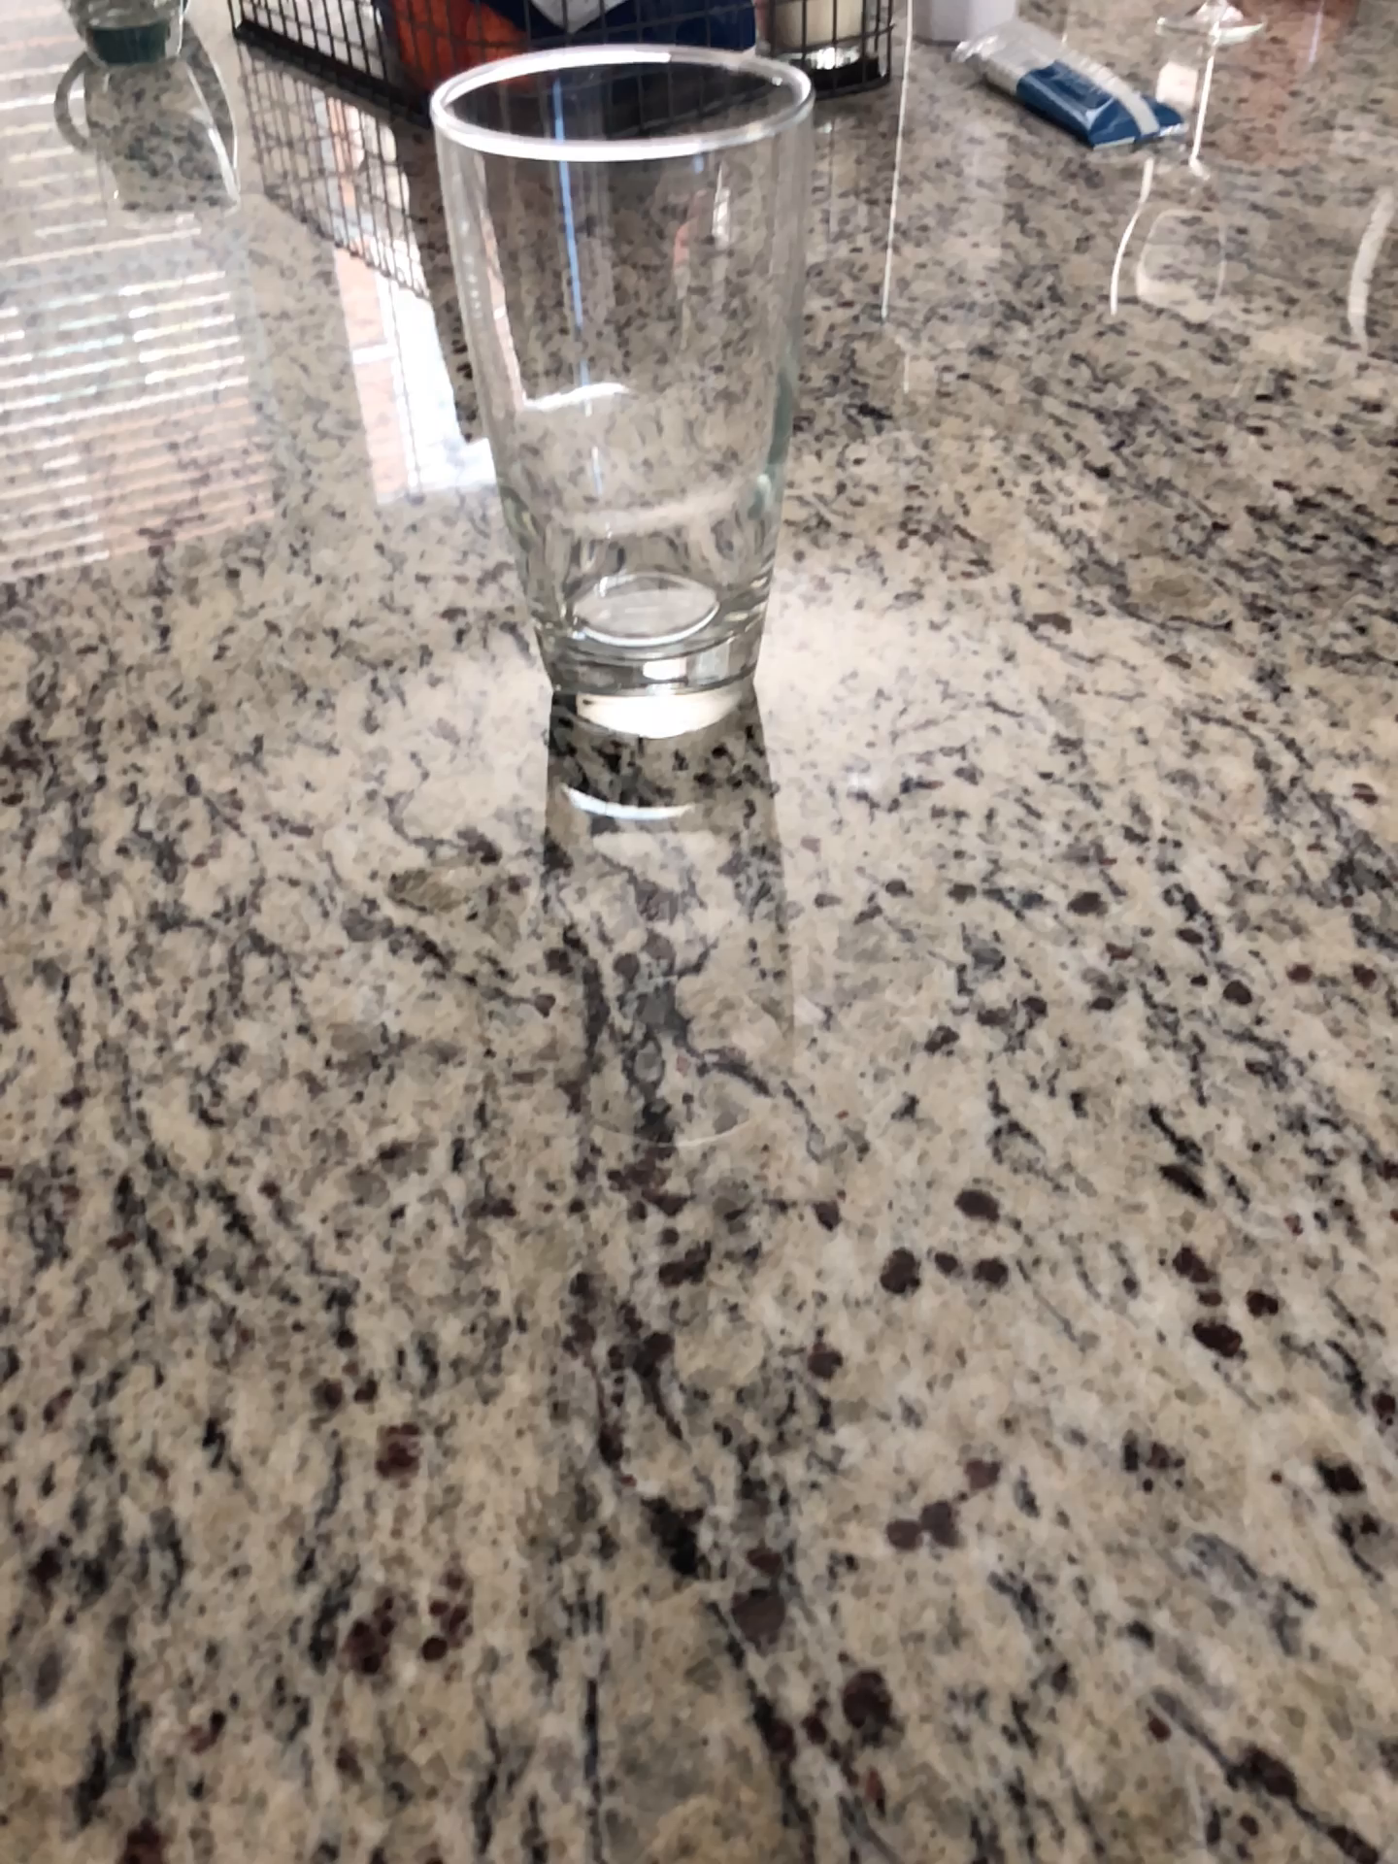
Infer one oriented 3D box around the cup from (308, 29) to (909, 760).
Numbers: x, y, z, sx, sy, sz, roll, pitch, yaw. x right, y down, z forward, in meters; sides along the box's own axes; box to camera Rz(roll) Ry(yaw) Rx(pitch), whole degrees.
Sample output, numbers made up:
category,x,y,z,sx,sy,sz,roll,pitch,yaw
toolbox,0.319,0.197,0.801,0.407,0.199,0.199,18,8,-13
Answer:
category,x,y,z,sx,sy,sz,roll,pitch,yaw
cup,-0.012,-0.129,0.368,0.100,0.129,0.101,-1,40,1
